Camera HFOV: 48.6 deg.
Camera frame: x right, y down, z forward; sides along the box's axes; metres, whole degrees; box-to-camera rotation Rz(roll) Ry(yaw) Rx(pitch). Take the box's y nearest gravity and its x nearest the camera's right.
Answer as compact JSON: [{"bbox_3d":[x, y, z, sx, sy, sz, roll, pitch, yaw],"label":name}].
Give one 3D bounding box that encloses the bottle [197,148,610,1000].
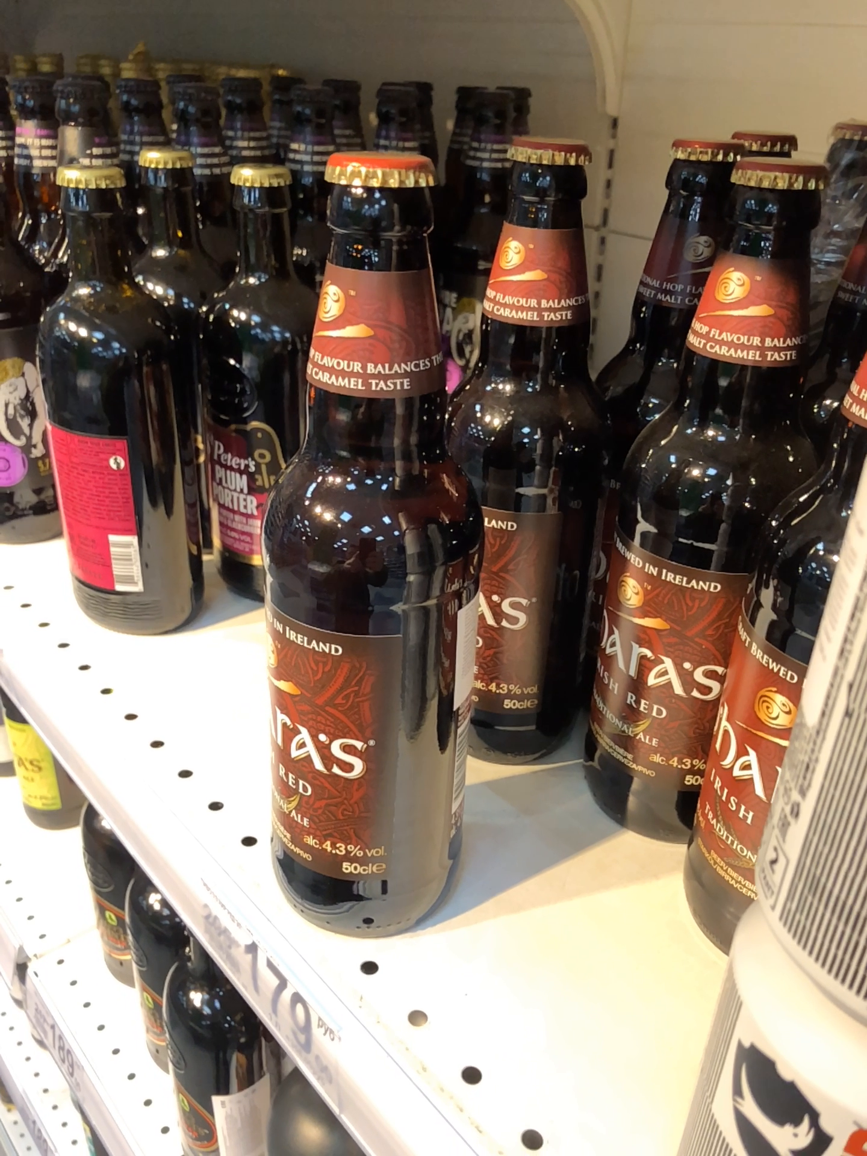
[{"bbox_3d":[-0.016,0.003,0.300,0.080,0.246,0.080,2,28,-1],"label":"bottle"}]
